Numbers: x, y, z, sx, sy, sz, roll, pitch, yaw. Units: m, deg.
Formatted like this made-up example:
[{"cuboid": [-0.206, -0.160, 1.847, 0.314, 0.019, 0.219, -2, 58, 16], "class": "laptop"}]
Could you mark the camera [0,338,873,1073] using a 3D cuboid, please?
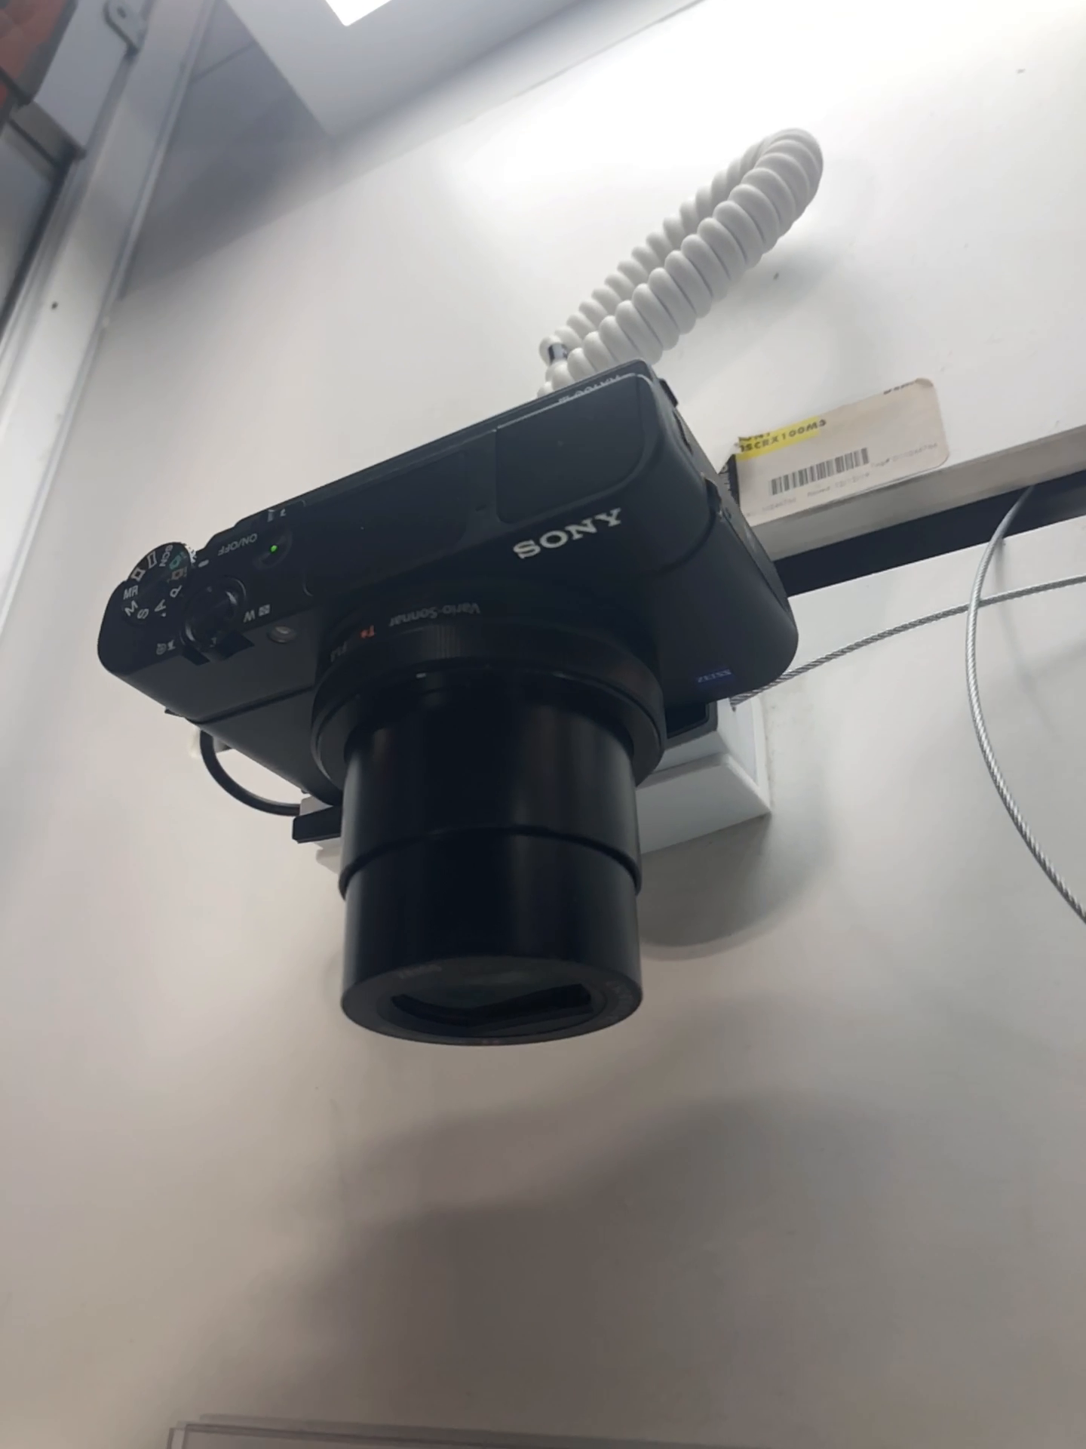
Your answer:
[{"cuboid": [-0.013, 0.007, 0.194, 0.105, 0.074, 0.070, -14, 55, 27], "class": "camera"}]
